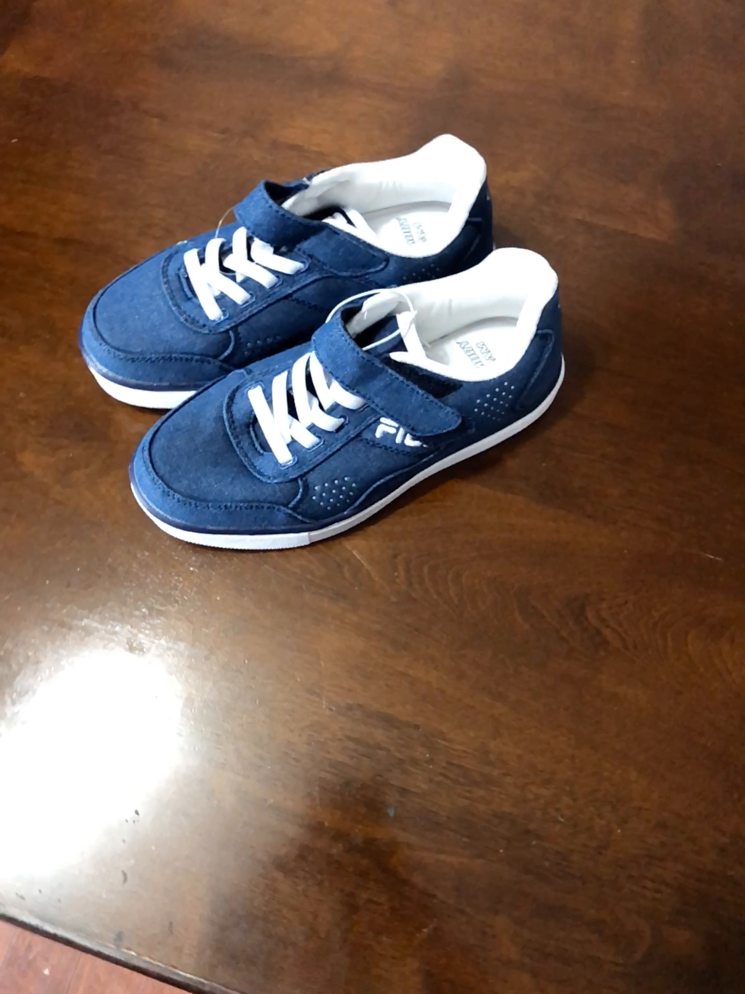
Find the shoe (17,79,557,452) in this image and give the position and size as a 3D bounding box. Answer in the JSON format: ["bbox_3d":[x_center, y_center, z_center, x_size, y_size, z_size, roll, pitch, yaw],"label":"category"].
[{"bbox_3d":[-0.040,-0.119,0.430,0.240,0.080,0.090,-21,71,-8],"label":"shoe"}]

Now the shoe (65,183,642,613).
[{"bbox_3d":[-0.007,-0.048,0.410,0.240,0.080,0.100,-25,72,-9],"label":"shoe"}]
